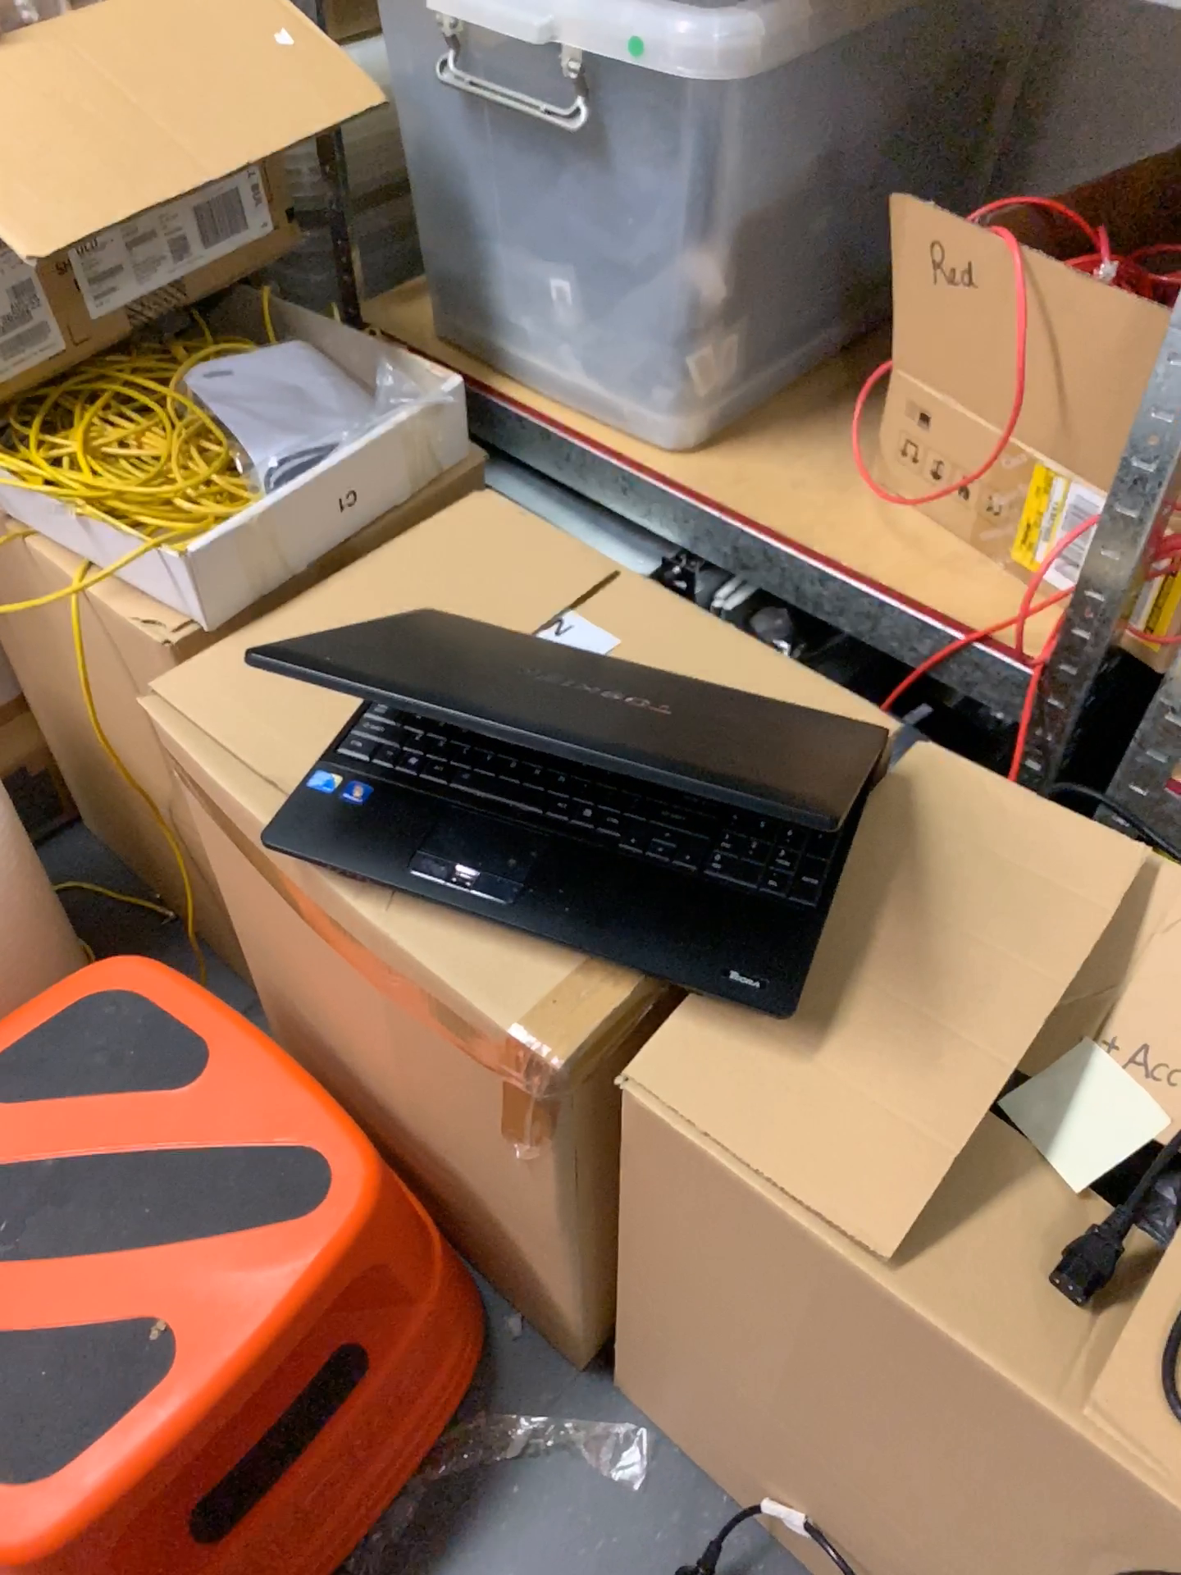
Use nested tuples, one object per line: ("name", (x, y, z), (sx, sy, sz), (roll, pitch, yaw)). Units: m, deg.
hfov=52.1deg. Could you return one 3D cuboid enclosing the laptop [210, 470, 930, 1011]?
("laptop", (-0.004, -0.042, 0.767), (0.354, 0.135, 0.232), (17, 52, 13))
